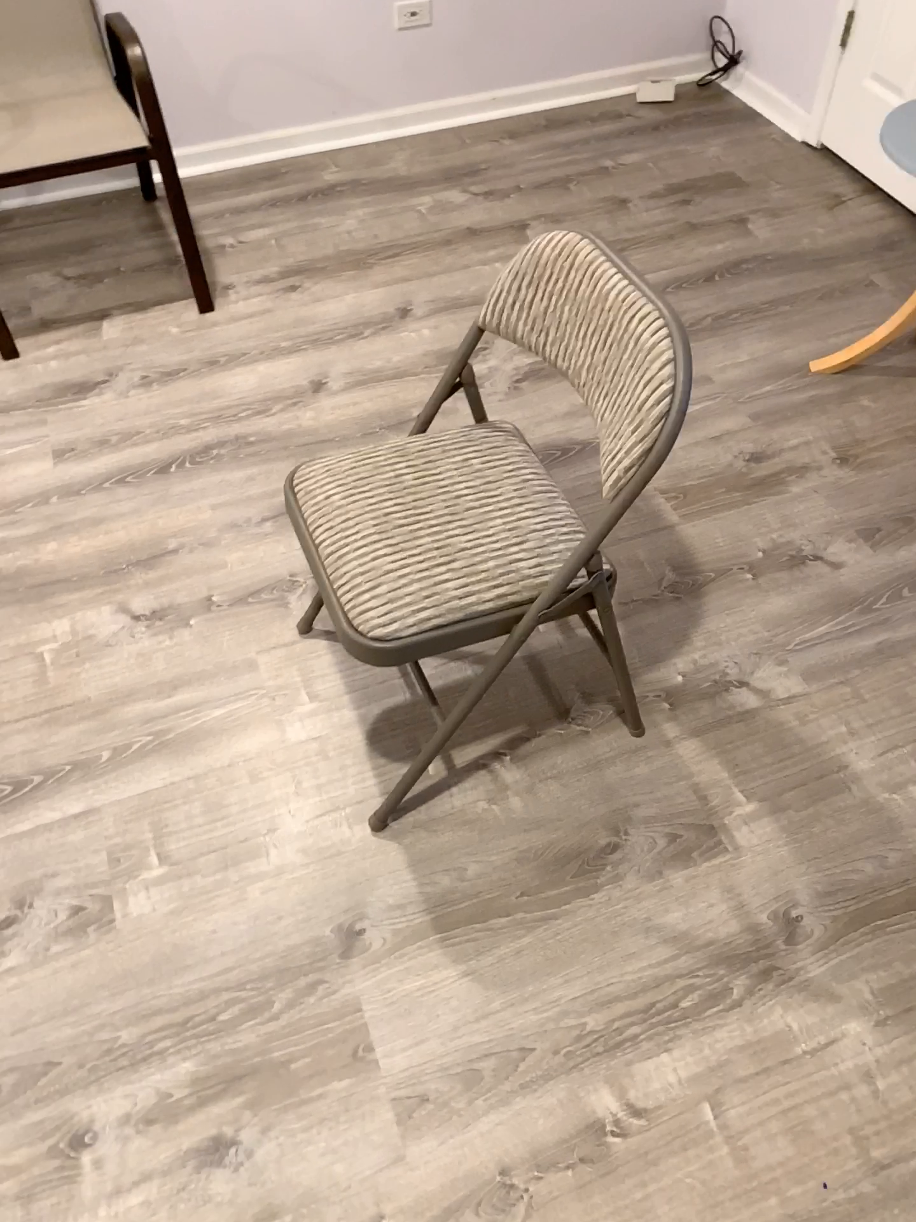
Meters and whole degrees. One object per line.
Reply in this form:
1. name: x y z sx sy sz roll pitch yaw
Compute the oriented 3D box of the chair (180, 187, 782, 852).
1. chair: 0.010 -0.122 1.401 0.585 0.708 0.504 -18 51 -13
